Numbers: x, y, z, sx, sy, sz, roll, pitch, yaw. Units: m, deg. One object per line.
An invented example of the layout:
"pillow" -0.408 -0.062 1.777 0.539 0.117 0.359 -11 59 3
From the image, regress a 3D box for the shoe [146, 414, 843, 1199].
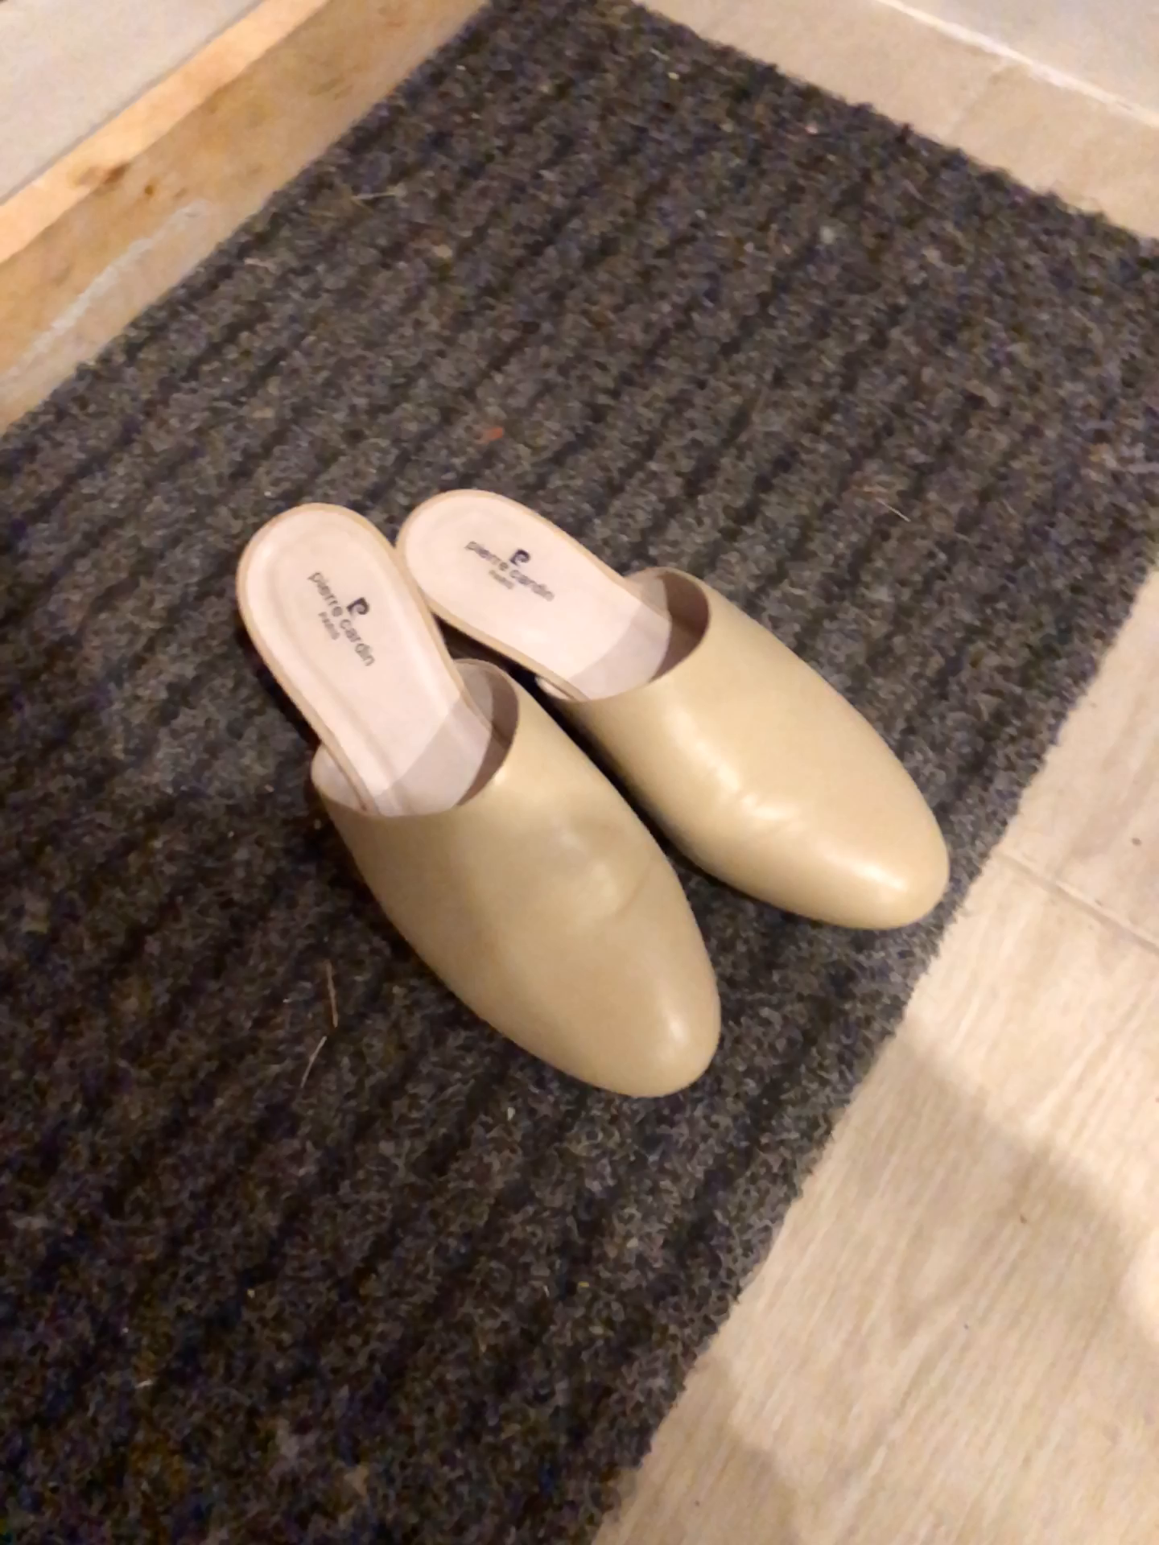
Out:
"shoe" -0.035 0.004 0.425 0.090 0.070 0.250 -33 70 -16

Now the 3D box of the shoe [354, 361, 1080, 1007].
"shoe" 0.042 -0.037 0.471 0.250 0.070 0.090 39 69 16
